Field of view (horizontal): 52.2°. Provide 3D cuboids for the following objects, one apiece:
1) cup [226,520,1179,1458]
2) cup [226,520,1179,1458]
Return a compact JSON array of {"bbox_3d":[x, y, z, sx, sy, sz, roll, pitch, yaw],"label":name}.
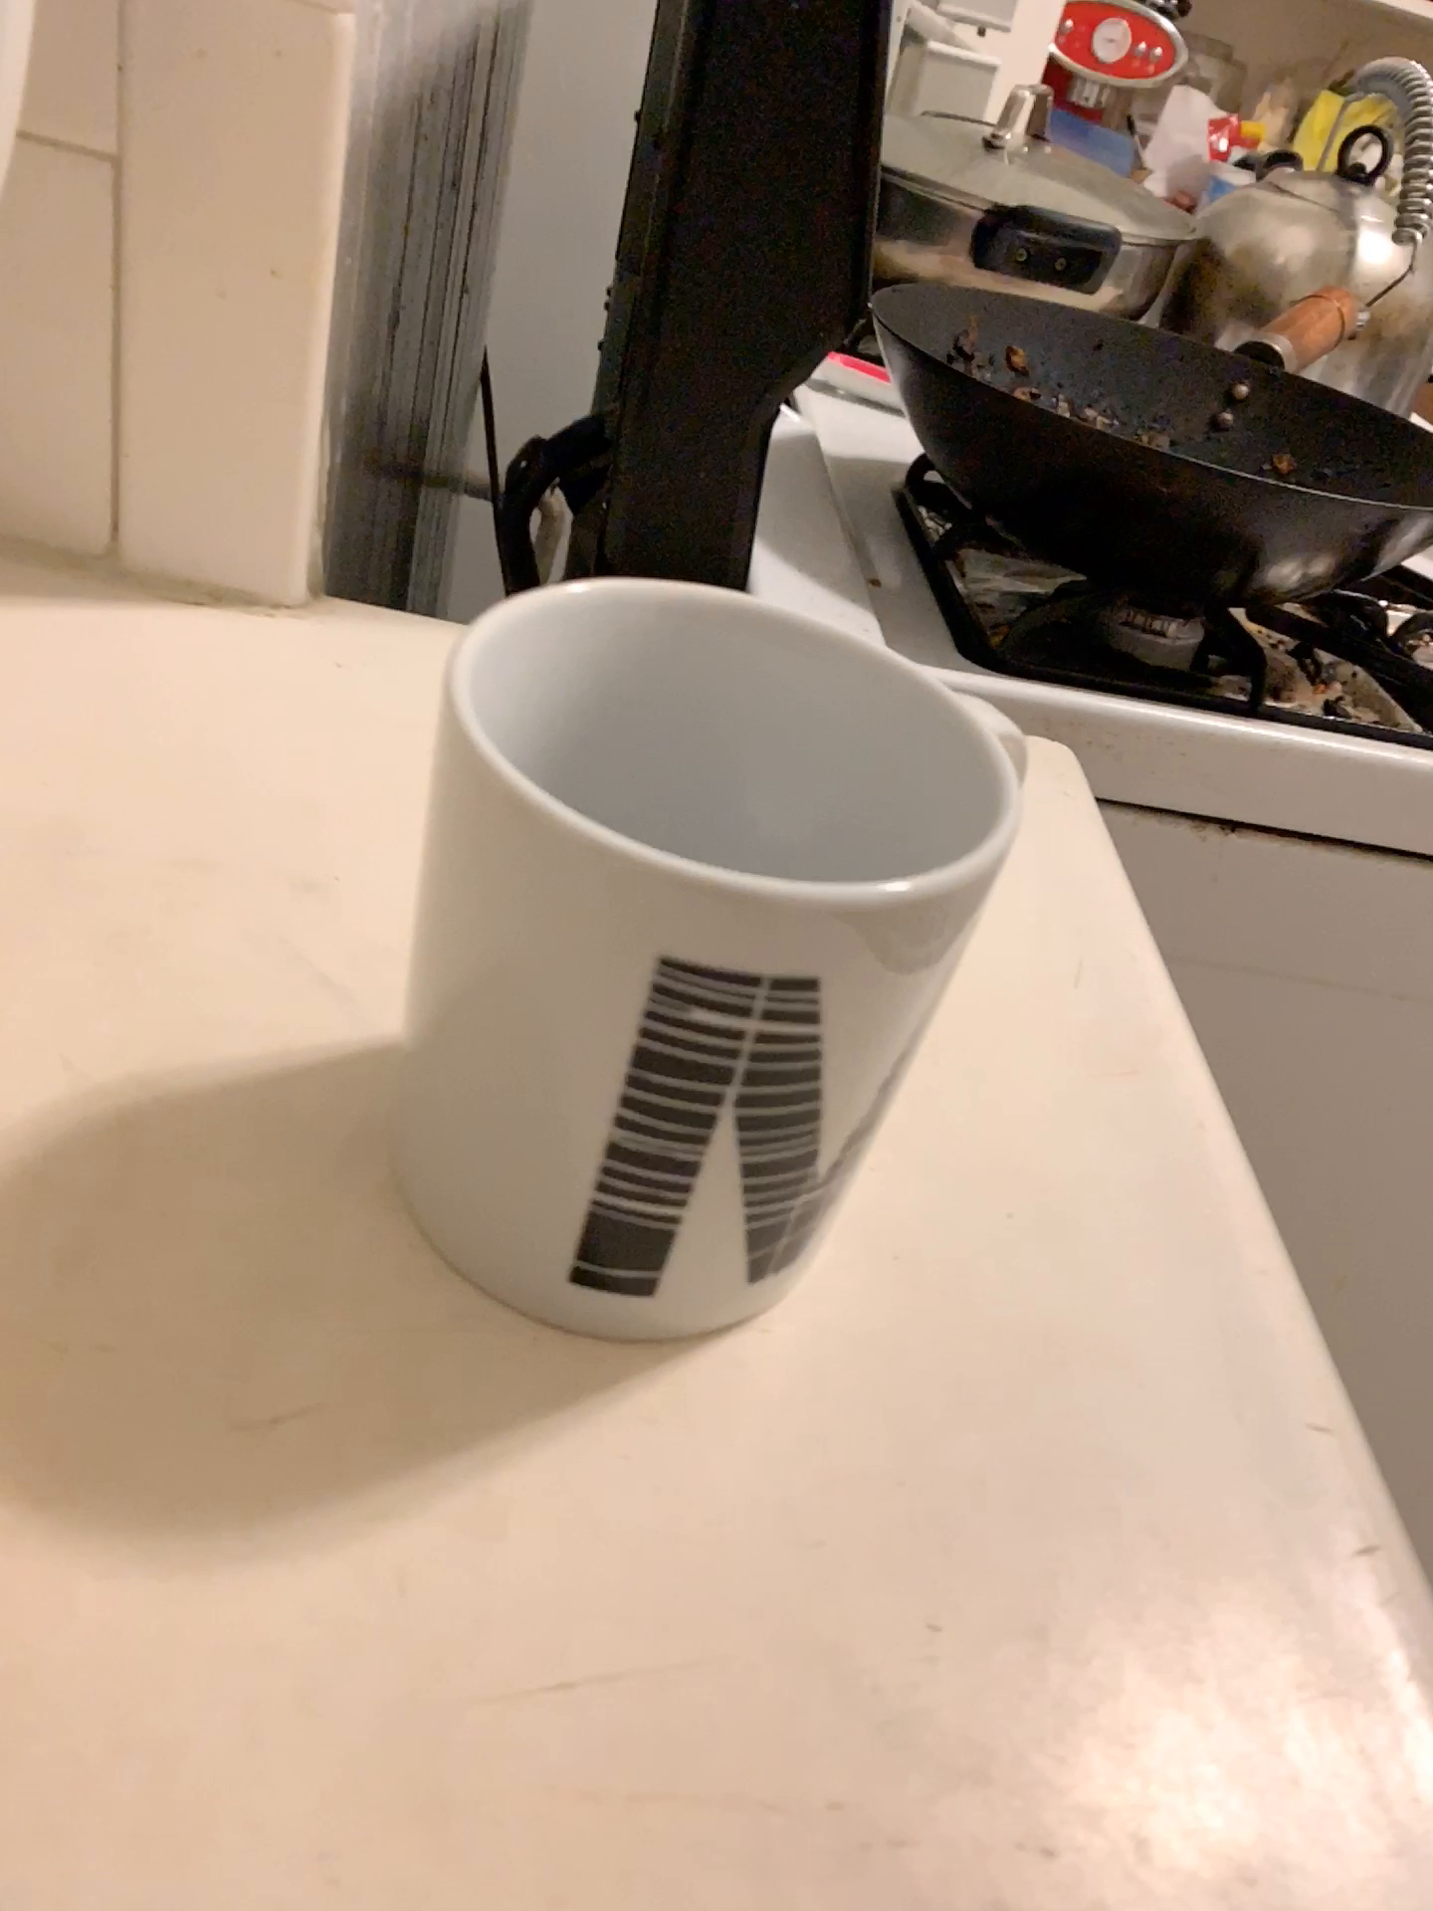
[{"bbox_3d":[-0.006,-0.005,0.282,0.100,0.109,0.130,39,41,28],"label":"cup"},{"bbox_3d":[-0.006,-0.005,0.282,0.100,0.109,0.130,39,41,28],"label":"cup"}]
